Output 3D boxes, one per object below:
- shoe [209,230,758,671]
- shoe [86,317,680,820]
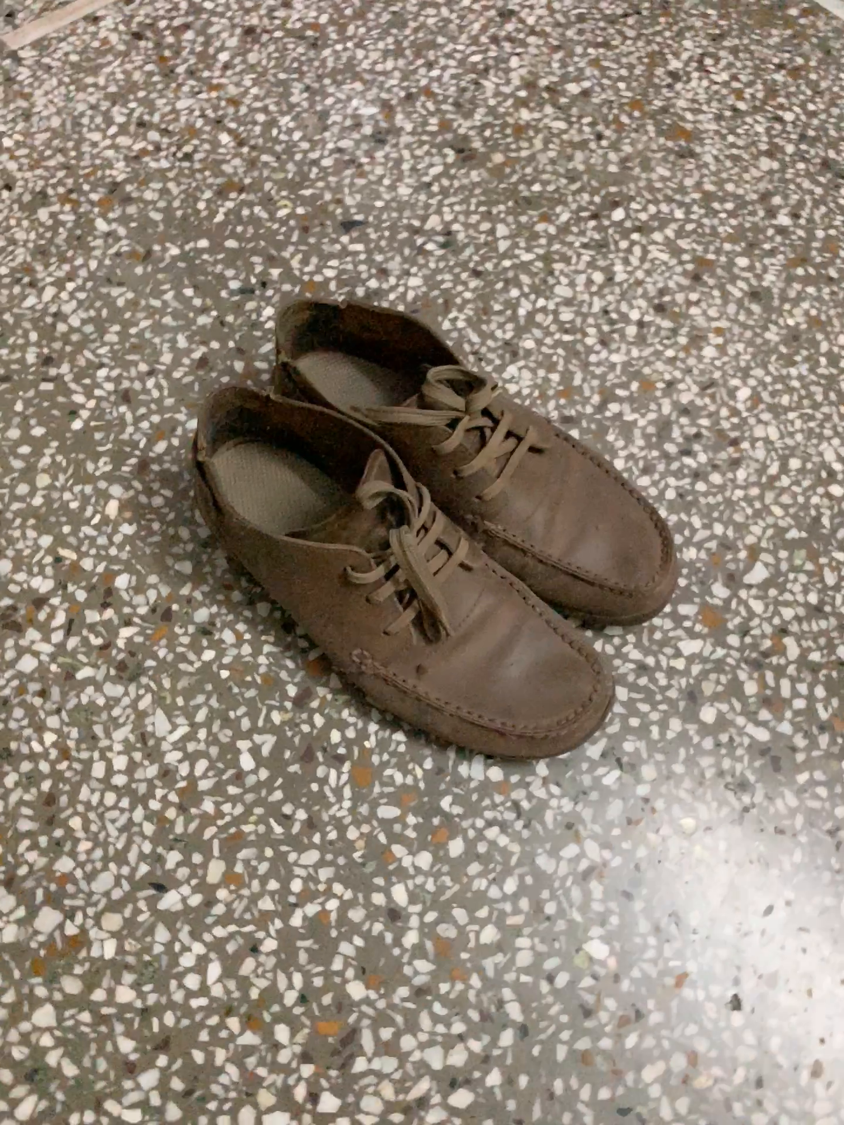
[{"bbox_3d":[0.029,-0.065,0.517,0.290,0.100,0.100,31,69,9],"label":"shoe"},{"bbox_3d":[-0.025,0.004,0.471,0.290,0.100,0.100,35,69,10],"label":"shoe"}]
